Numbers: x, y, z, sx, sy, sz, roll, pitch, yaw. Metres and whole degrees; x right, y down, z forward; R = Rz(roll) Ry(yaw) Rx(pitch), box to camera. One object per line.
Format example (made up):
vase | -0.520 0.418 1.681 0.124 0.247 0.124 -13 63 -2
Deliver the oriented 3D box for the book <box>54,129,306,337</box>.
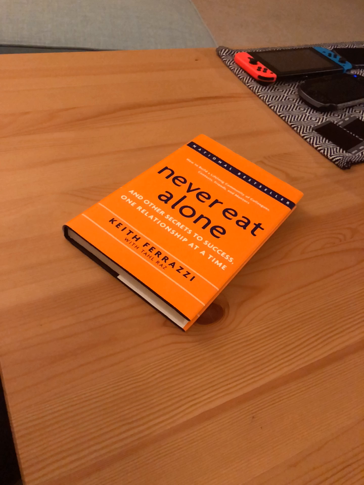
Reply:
book | 0.011 -0.034 0.449 0.166 0.025 0.241 35 51 17
